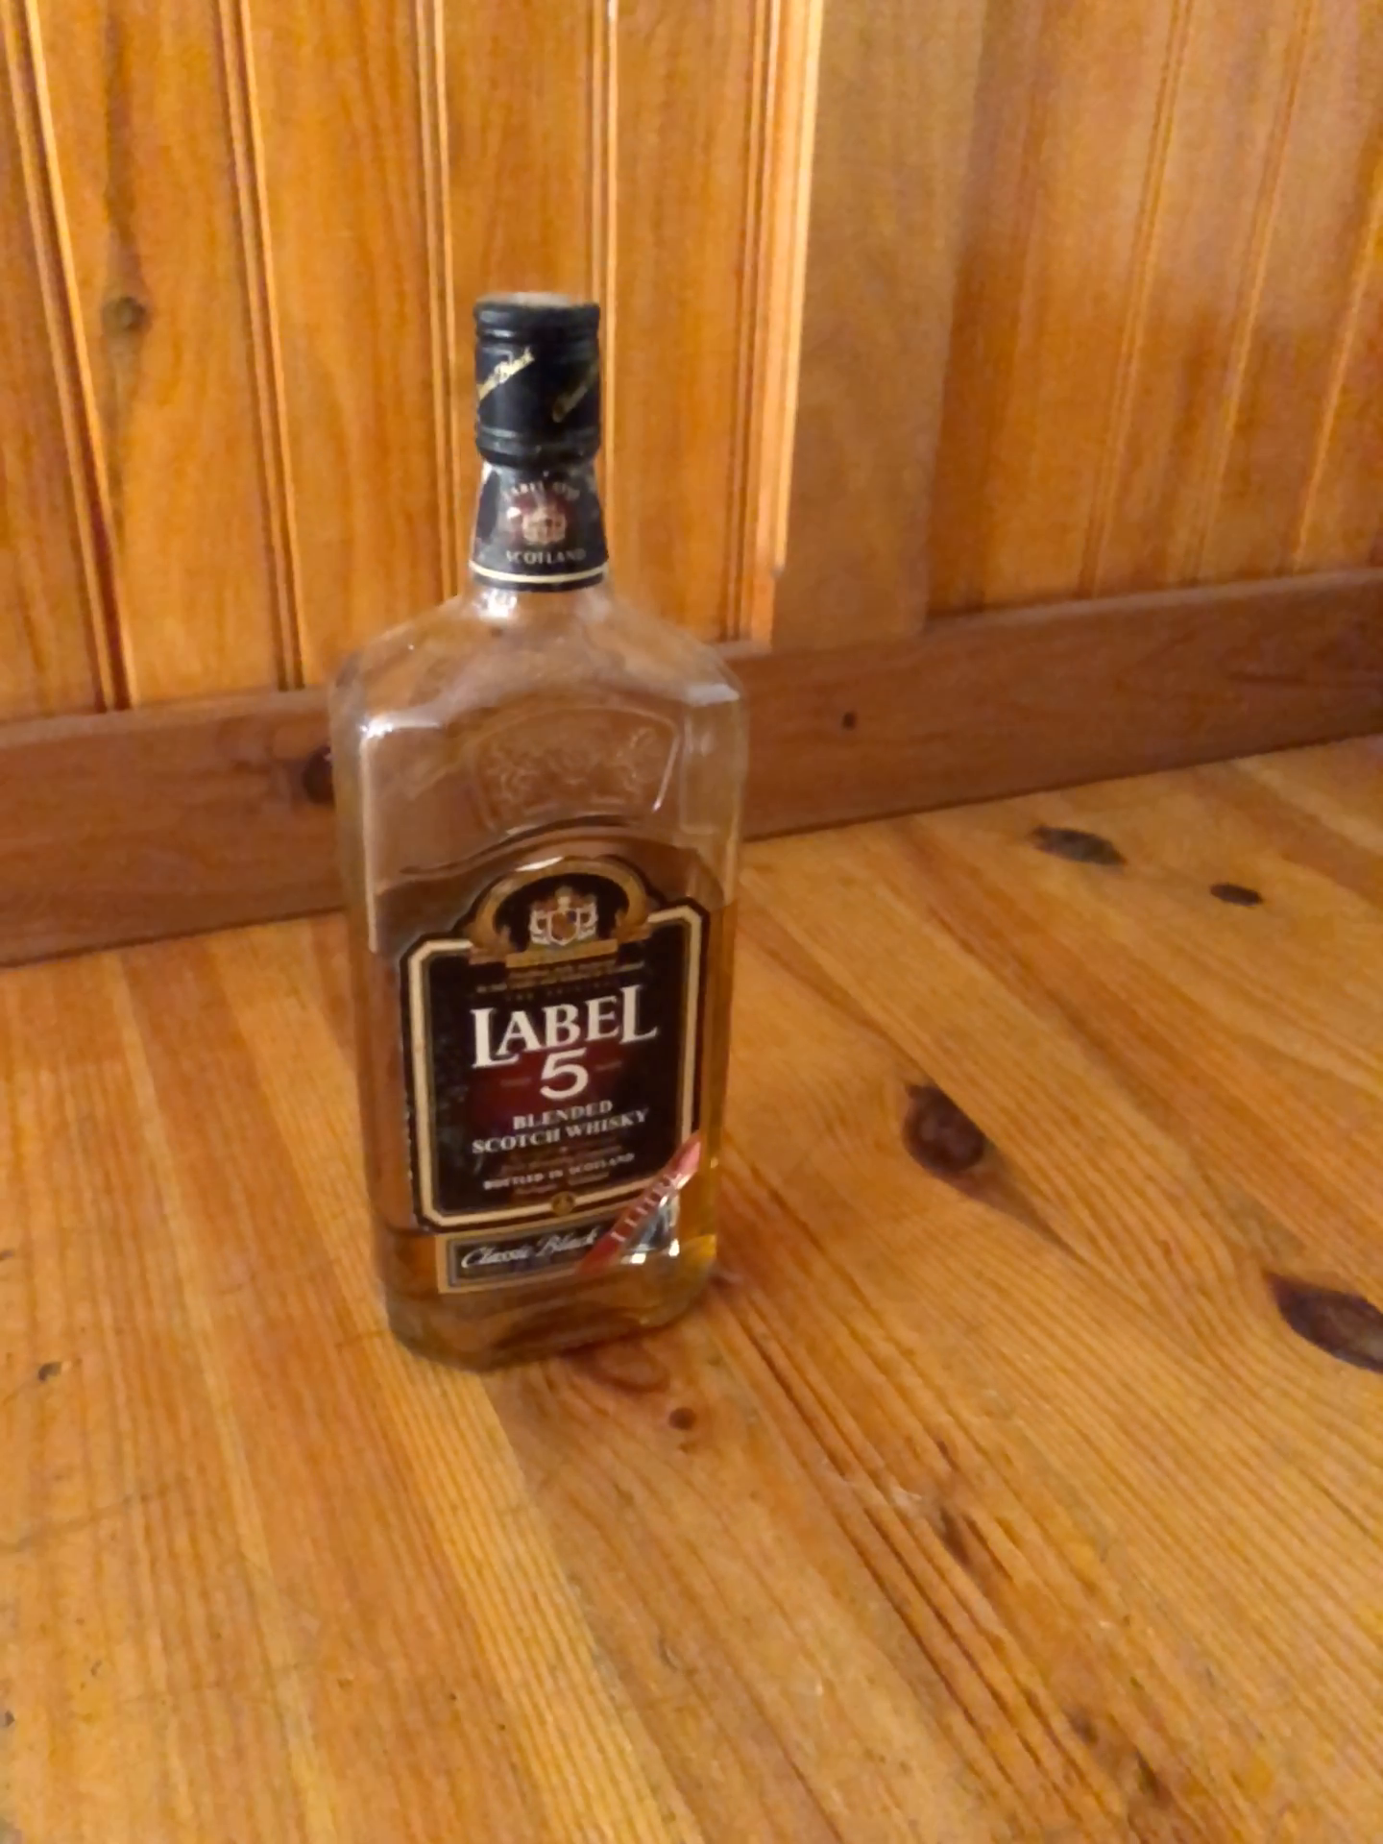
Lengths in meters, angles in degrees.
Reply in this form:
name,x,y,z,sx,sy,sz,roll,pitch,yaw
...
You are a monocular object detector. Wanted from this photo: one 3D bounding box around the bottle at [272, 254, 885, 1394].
name,x,y,z,sx,sy,sz,roll,pitch,yaw
bottle,-0.034,-0.019,0.414,0.120,0.288,0.080,-8,31,-18
